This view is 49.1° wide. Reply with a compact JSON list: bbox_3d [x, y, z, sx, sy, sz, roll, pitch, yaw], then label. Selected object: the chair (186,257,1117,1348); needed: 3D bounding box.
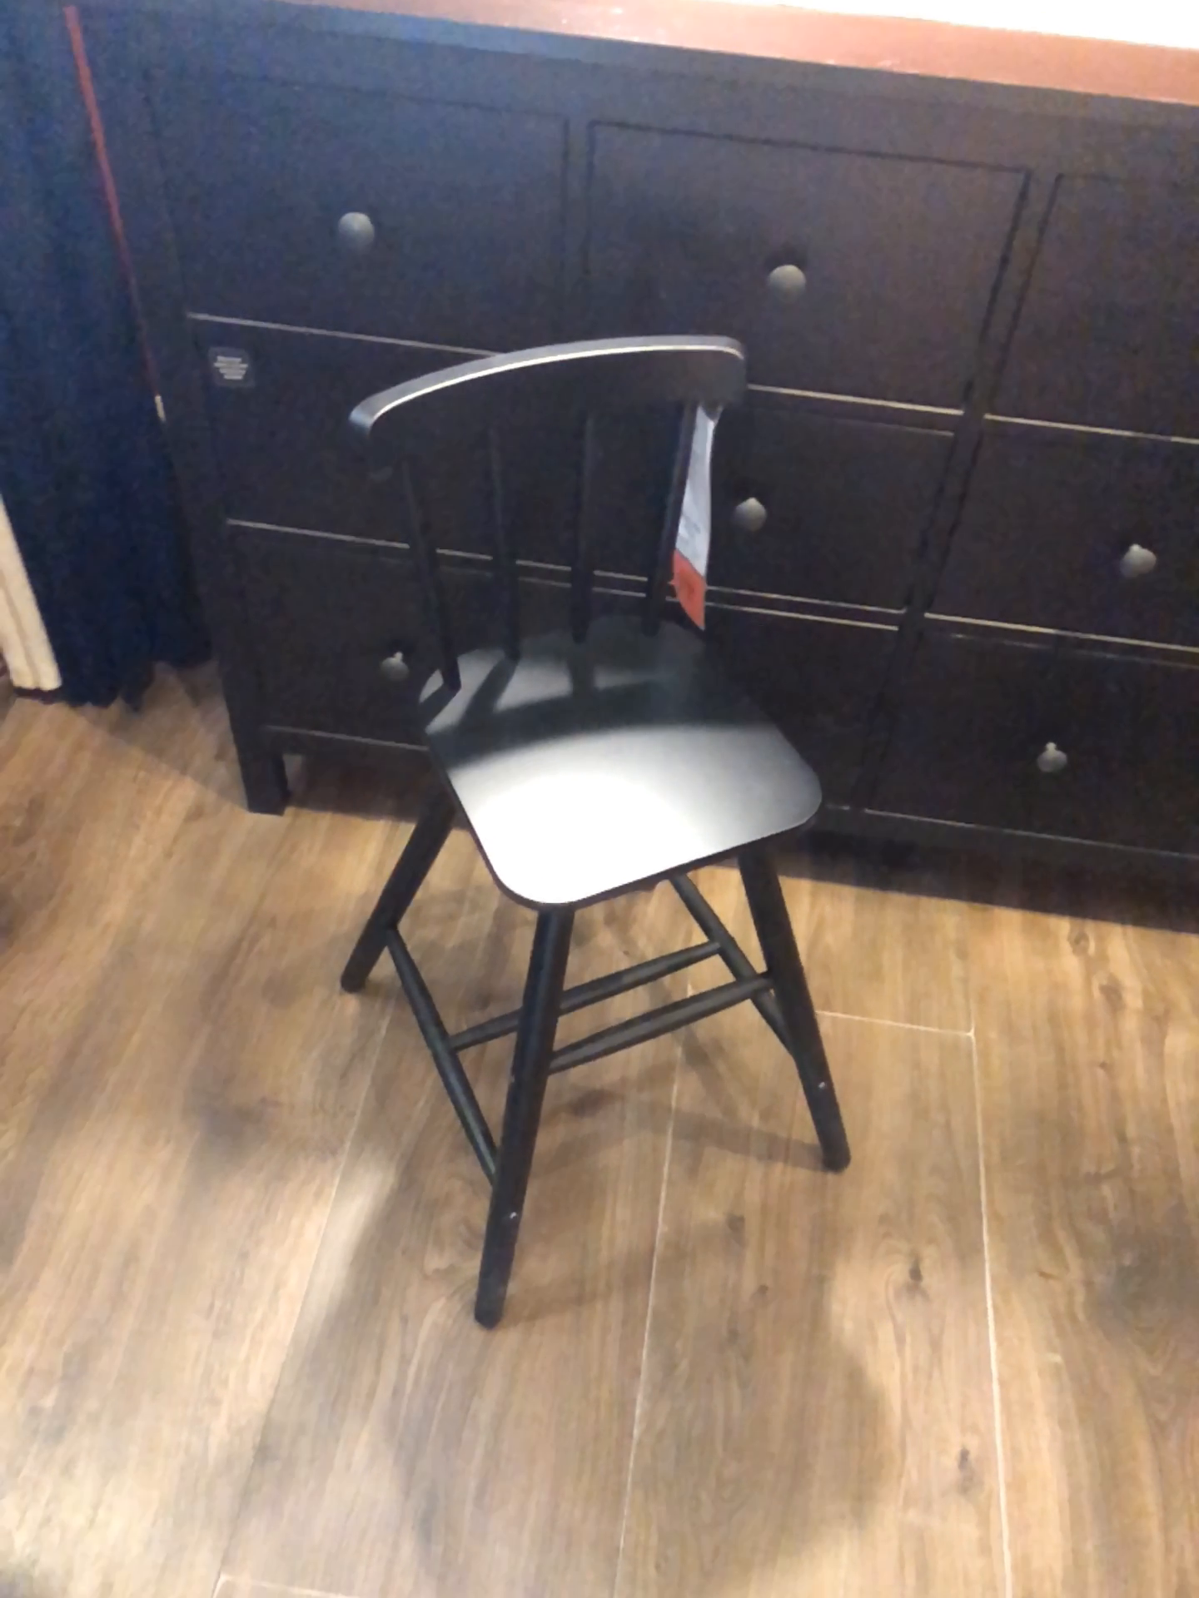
[{"bbox_3d":[-0.008,0.021,1.123,0.451,0.716,0.472,-17,50,-19],"label":"chair"}]
